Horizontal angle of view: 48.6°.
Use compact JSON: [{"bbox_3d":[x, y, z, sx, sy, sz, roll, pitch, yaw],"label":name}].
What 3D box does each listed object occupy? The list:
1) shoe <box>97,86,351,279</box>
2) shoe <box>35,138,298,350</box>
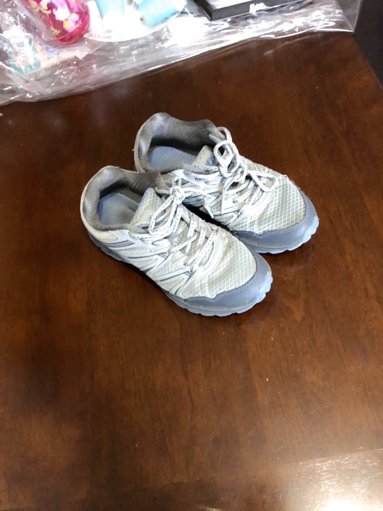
[{"bbox_3d":[0.034,-0.094,0.510,0.260,0.100,0.110,27,69,23],"label":"shoe"},{"bbox_3d":[-0.026,-0.019,0.466,0.250,0.100,0.110,26,69,23],"label":"shoe"}]
